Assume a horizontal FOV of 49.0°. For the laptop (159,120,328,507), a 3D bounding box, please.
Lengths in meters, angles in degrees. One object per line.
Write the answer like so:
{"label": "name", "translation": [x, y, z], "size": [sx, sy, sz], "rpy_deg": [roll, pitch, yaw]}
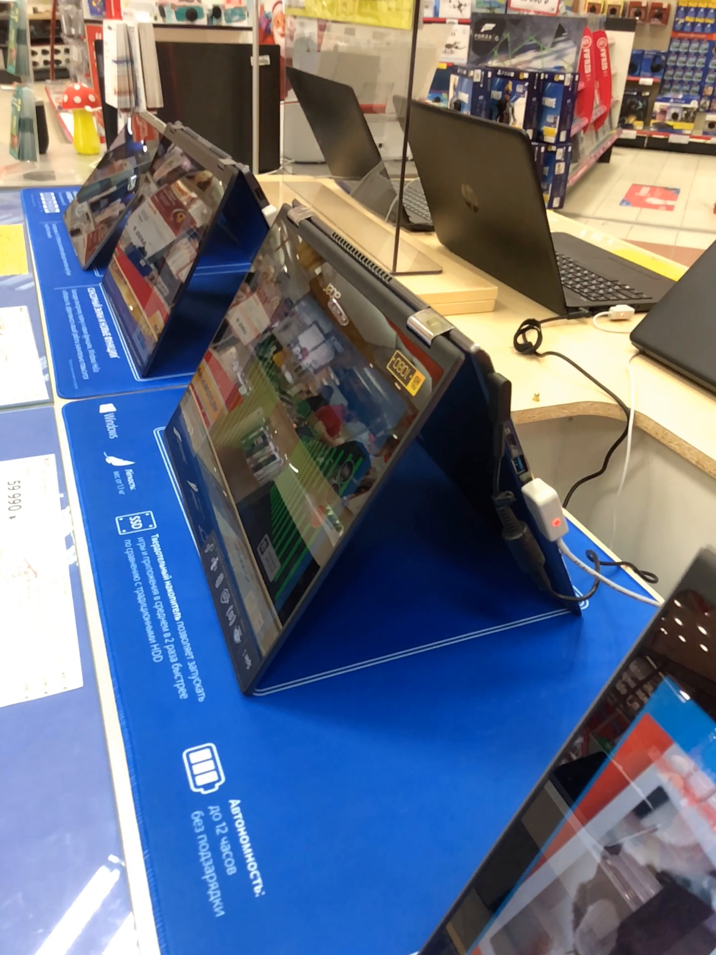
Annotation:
{"label": "laptop", "translation": [-0.141, -0.198, 0.950], "size": [0.175, 0.179, 0.270], "rpy_deg": [20, 19, -33]}

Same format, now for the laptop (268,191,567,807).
{"label": "laptop", "translation": [0.032, 0.019, 0.621], "size": [0.201, 0.159, 0.308], "rpy_deg": [26, 16, -39]}
